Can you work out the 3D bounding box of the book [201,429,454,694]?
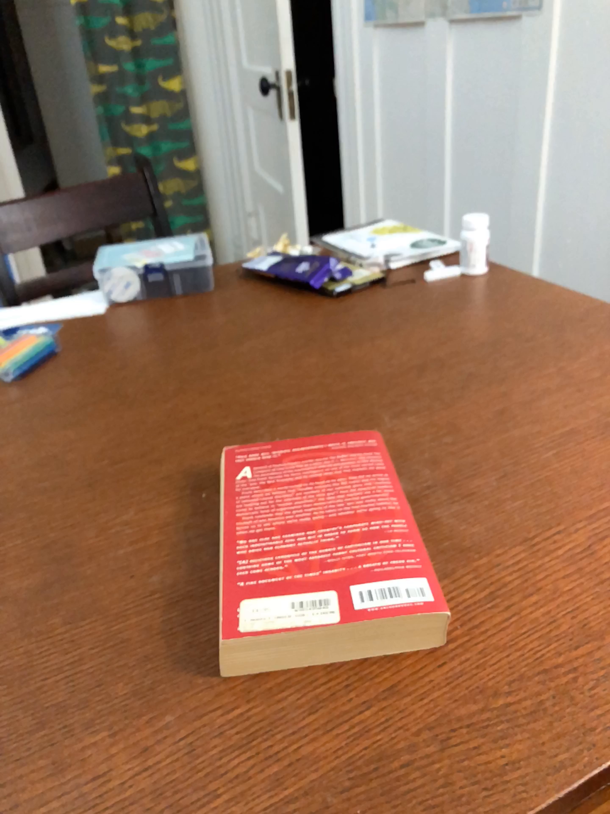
[{"bbox_3d":[0.004,0.090,0.471,0.140,0.030,0.211,-7,29,-3],"label":"book"}]
